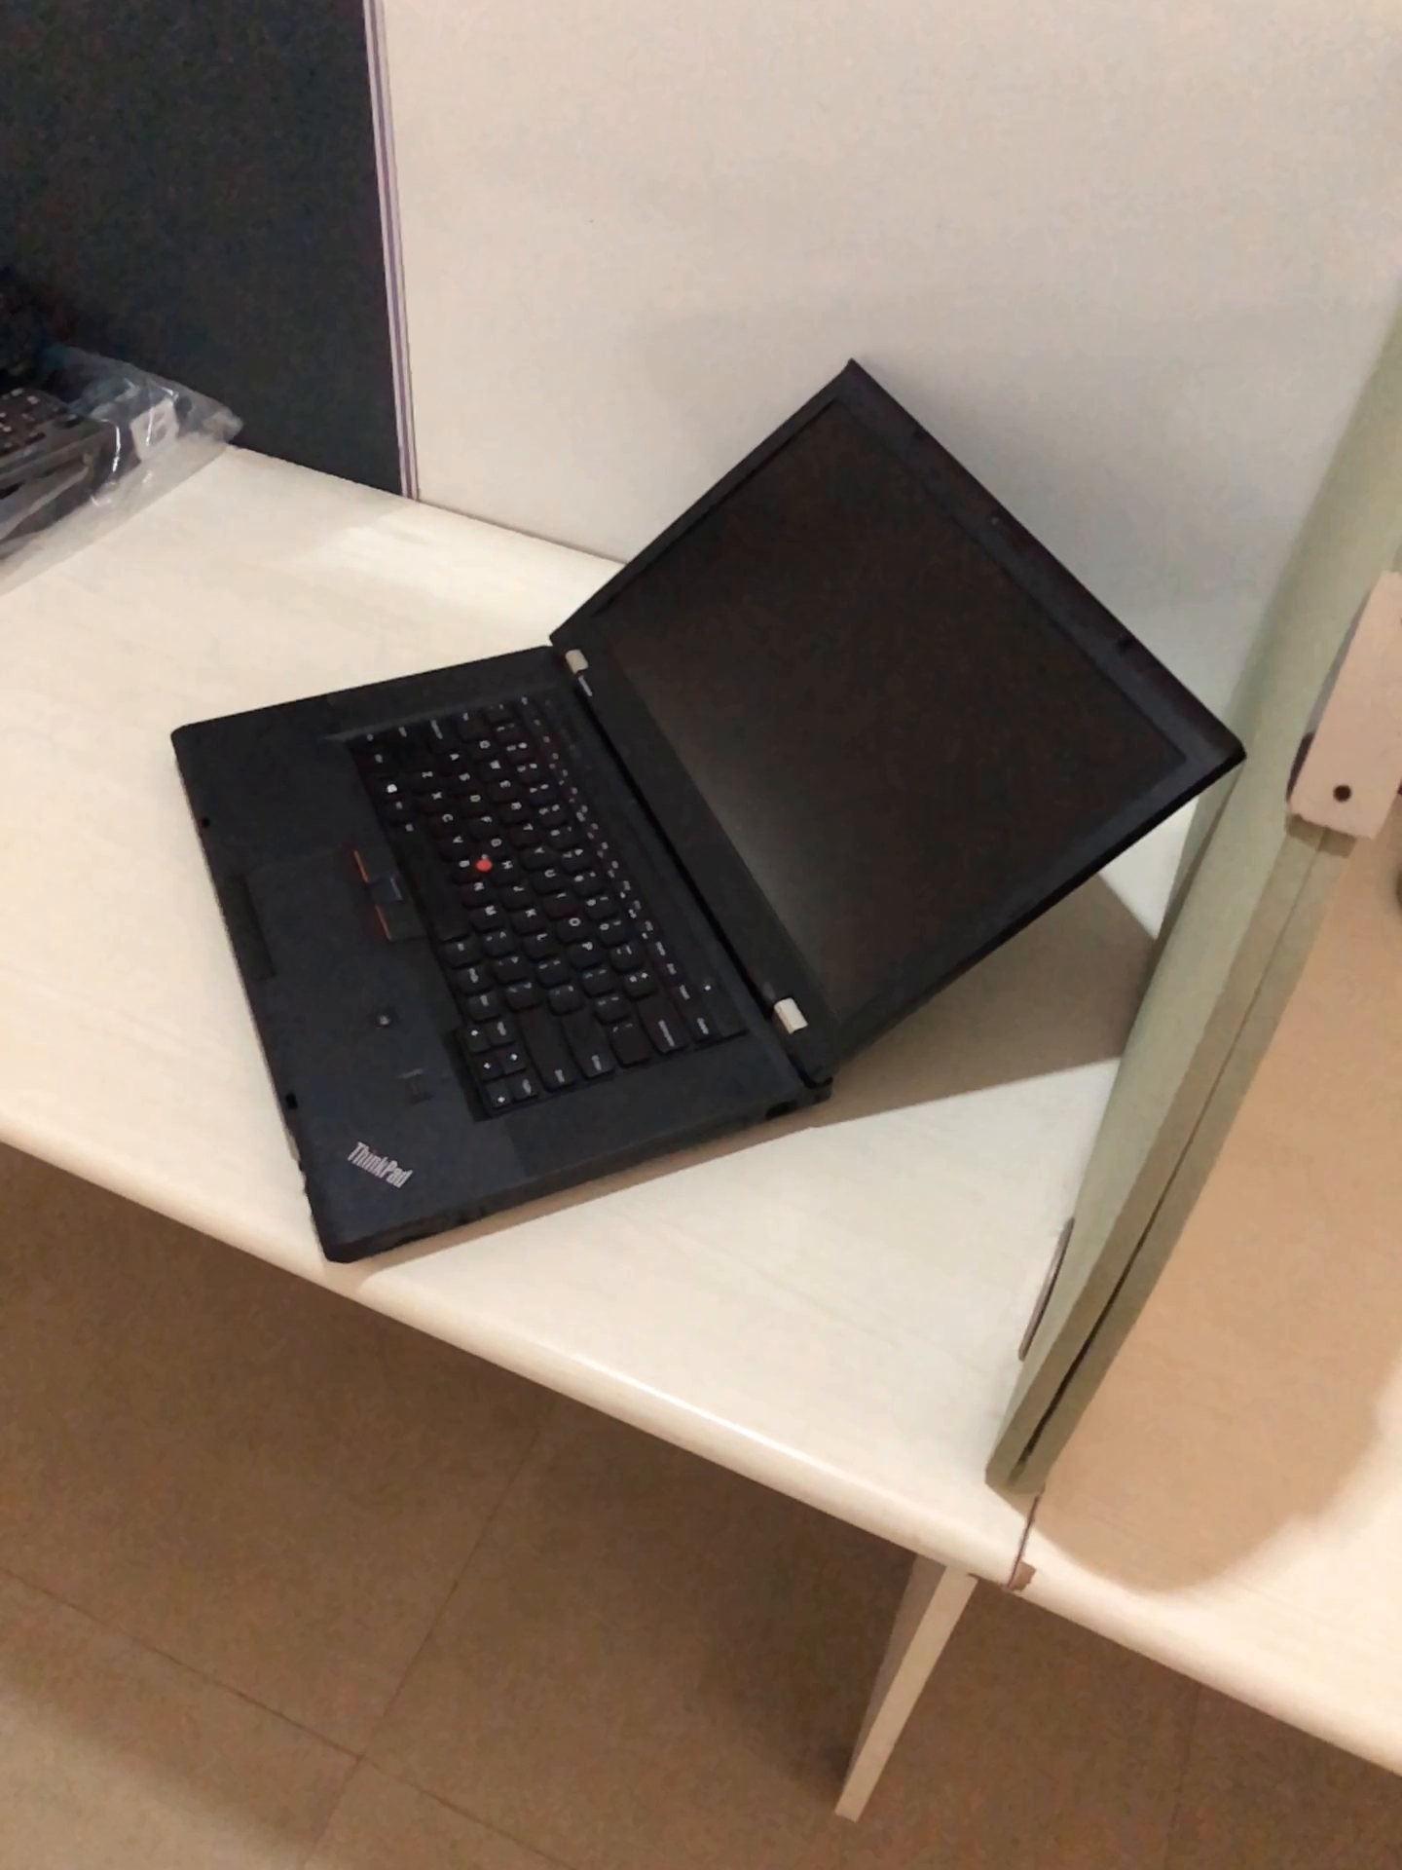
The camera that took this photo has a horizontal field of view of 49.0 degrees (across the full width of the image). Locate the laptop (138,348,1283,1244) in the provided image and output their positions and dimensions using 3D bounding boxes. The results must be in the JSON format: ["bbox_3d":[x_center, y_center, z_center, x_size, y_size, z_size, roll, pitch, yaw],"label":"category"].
[{"bbox_3d":[-0.024,-0.099,0.751,0.411,0.142,0.355,-17,49,-14],"label":"laptop"}]
